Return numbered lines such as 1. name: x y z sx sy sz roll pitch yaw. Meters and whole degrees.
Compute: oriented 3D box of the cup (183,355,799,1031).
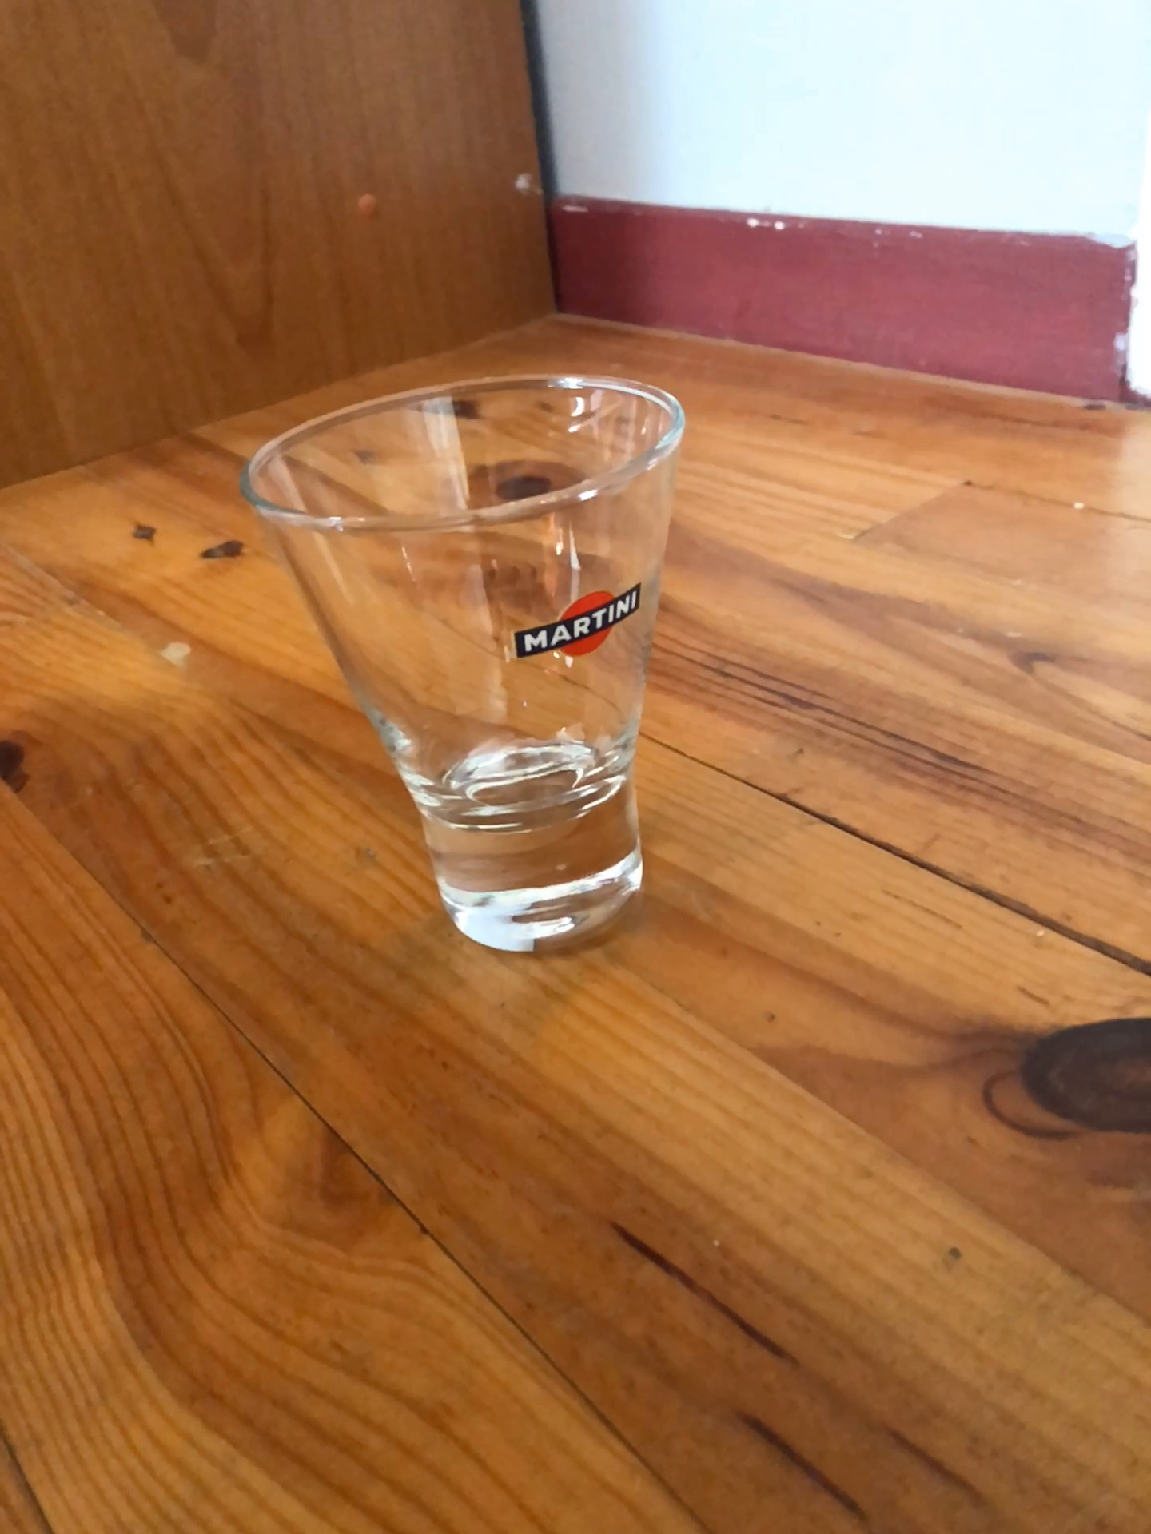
1. cup: -0.016 -0.023 0.277 0.091 0.097 0.088 -5 32 3
